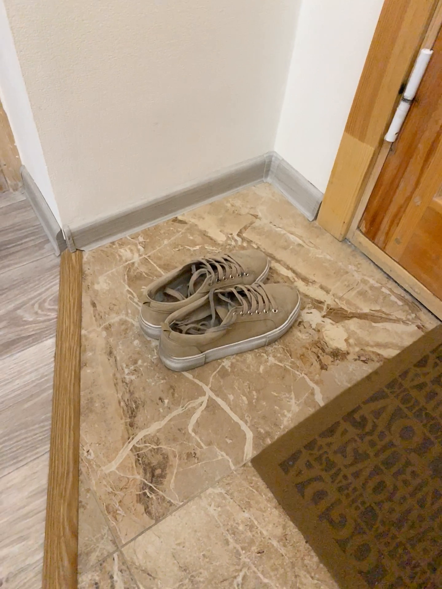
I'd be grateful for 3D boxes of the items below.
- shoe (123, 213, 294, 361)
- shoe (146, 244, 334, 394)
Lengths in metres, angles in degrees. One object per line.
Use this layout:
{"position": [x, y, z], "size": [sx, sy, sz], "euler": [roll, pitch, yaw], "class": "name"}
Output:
{"position": [-0.015, -0.017, 0.691], "size": [0.240, 0.100, 0.090], "euler": [-30, 59, -26], "class": "shoe"}
{"position": [0.026, 0.030, 0.645], "size": [0.240, 0.100, 0.090], "euler": [-22, 56, -22], "class": "shoe"}
